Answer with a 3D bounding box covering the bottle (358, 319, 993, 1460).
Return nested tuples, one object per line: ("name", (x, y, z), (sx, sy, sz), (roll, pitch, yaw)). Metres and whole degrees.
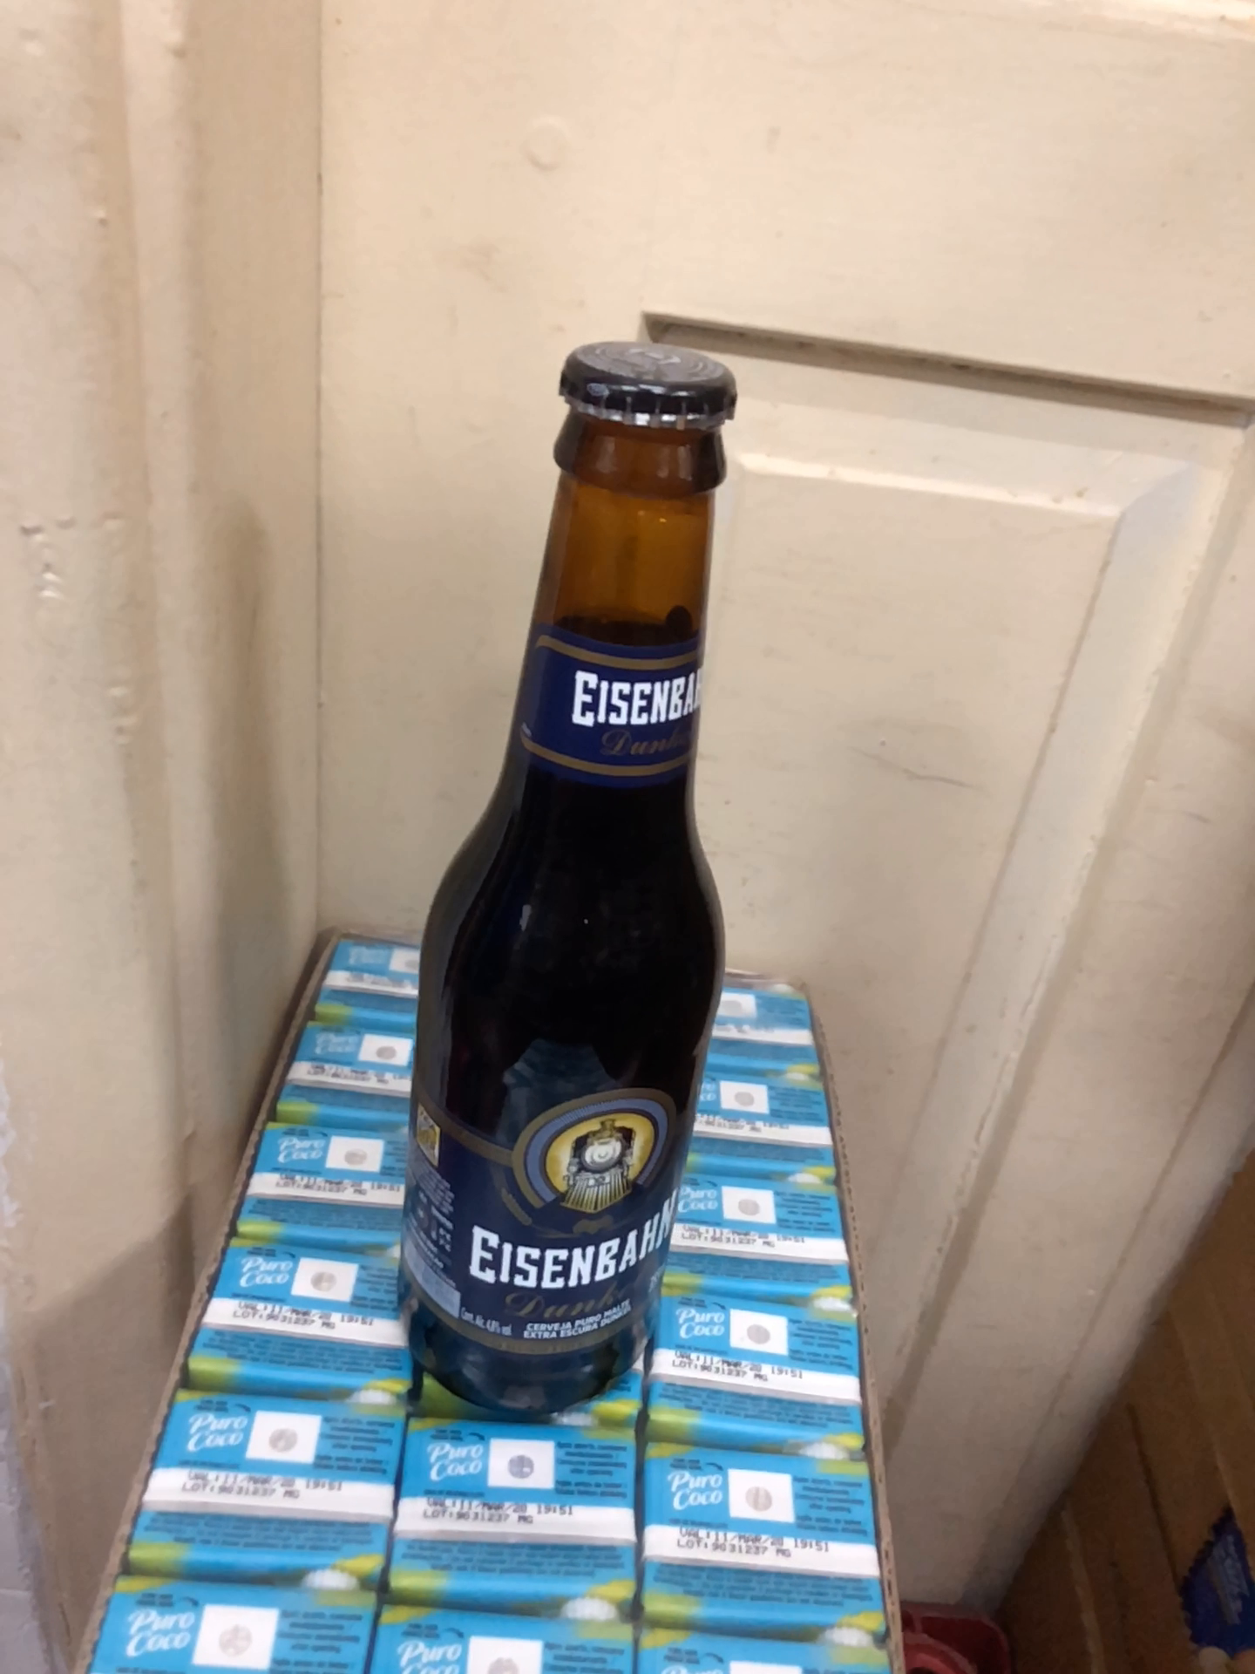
("bottle", (-0.007, 0.019, 0.250), (0.070, 0.198, 0.060), (-4, 36, -19))
